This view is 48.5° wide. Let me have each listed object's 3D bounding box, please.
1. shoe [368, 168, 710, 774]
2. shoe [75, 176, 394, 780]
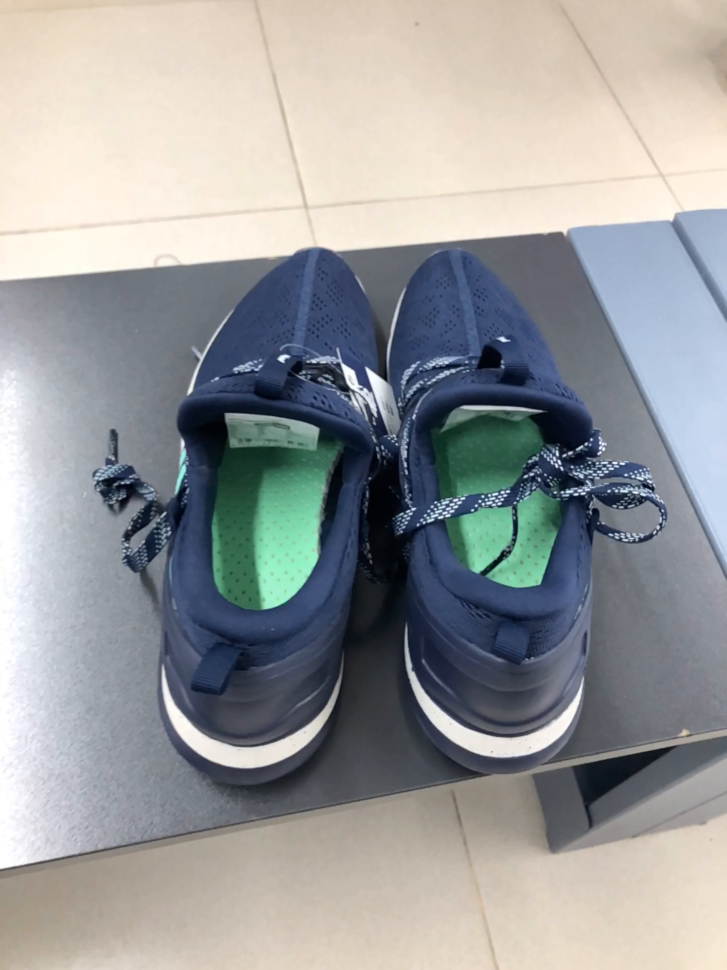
[{"bbox_3d":[0.056,-0.011,0.370,0.100,0.119,0.251,2,58,-3],"label":"shoe"},{"bbox_3d":[-0.044,-0.008,0.372,0.100,0.119,0.251,2,58,-3],"label":"shoe"}]
